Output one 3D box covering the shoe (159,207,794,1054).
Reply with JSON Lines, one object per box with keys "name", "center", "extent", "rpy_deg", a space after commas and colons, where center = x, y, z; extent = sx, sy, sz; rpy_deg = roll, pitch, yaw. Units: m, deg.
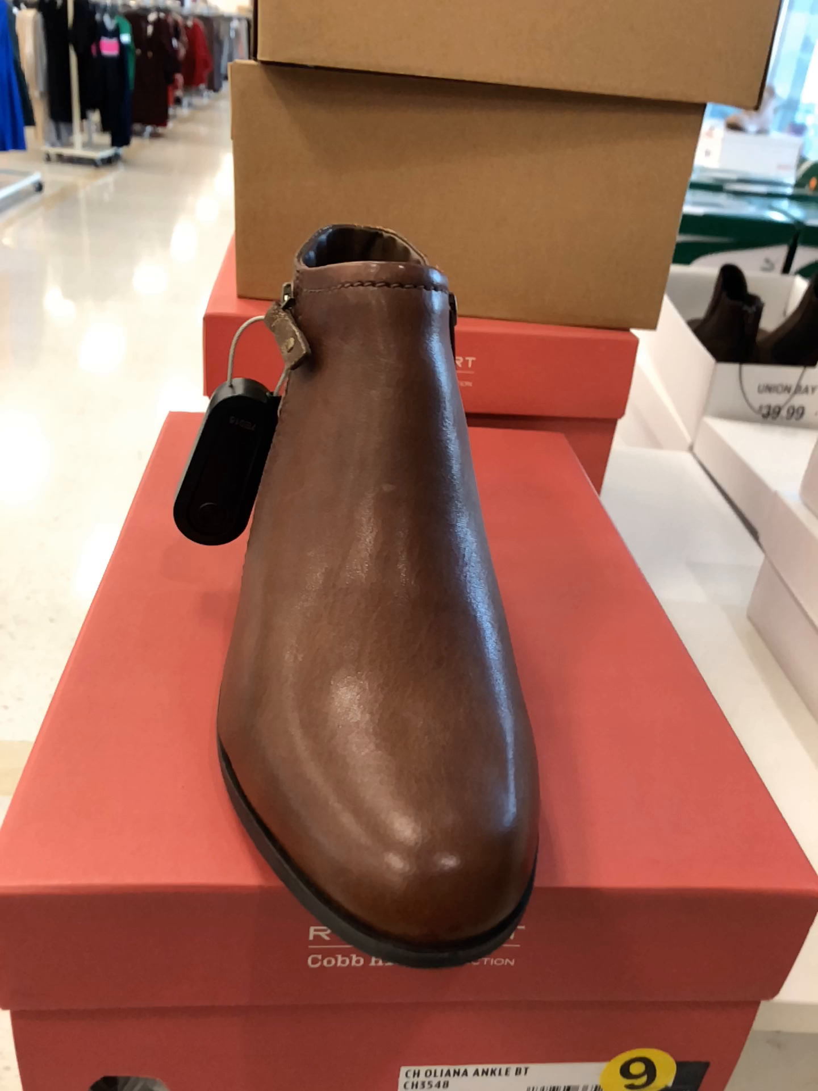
{"name": "shoe", "center": [-0.014, -0.016, 0.289], "extent": [0.101, 0.119, 0.282], "rpy_deg": [1, 30, -10]}
